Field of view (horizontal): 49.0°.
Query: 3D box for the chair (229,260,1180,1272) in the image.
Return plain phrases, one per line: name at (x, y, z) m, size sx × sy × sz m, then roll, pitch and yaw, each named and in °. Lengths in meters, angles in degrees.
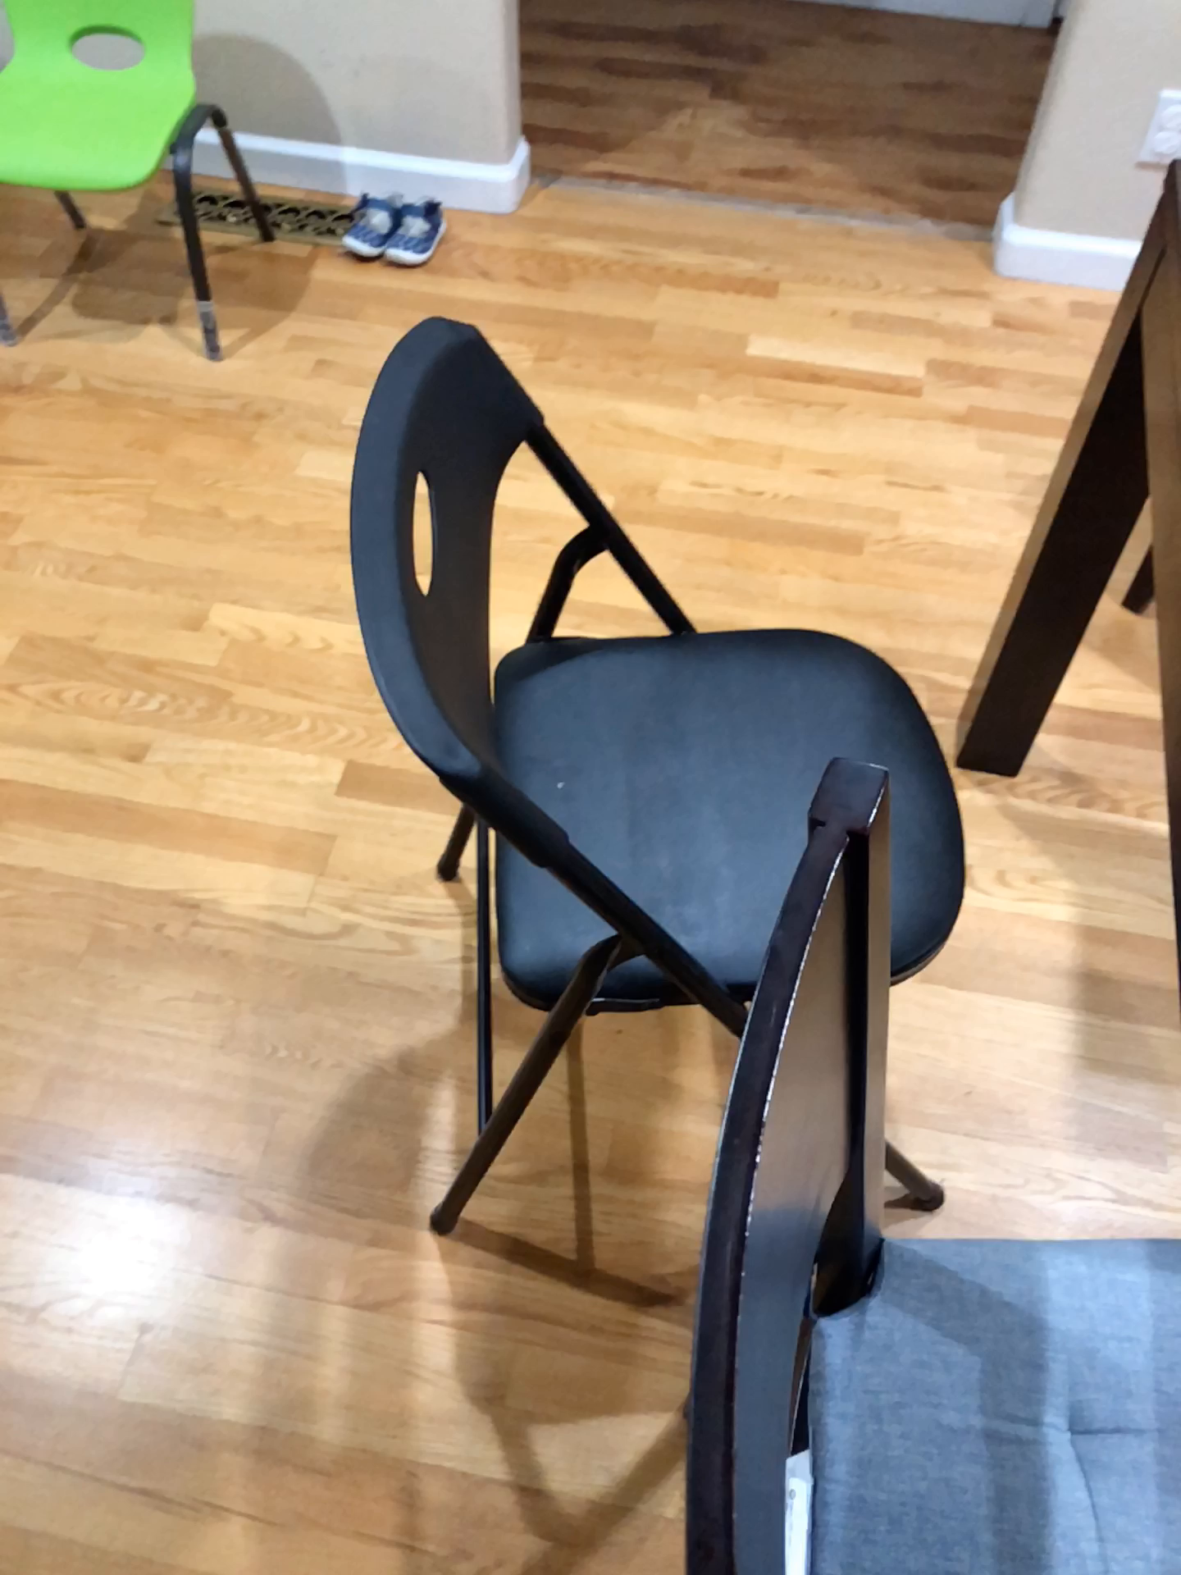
chair at (0.063, 0.024, 1.090) m, size 0.520 × 0.697 × 0.522 m, roll -1°, pitch 53°, yaw -2°
